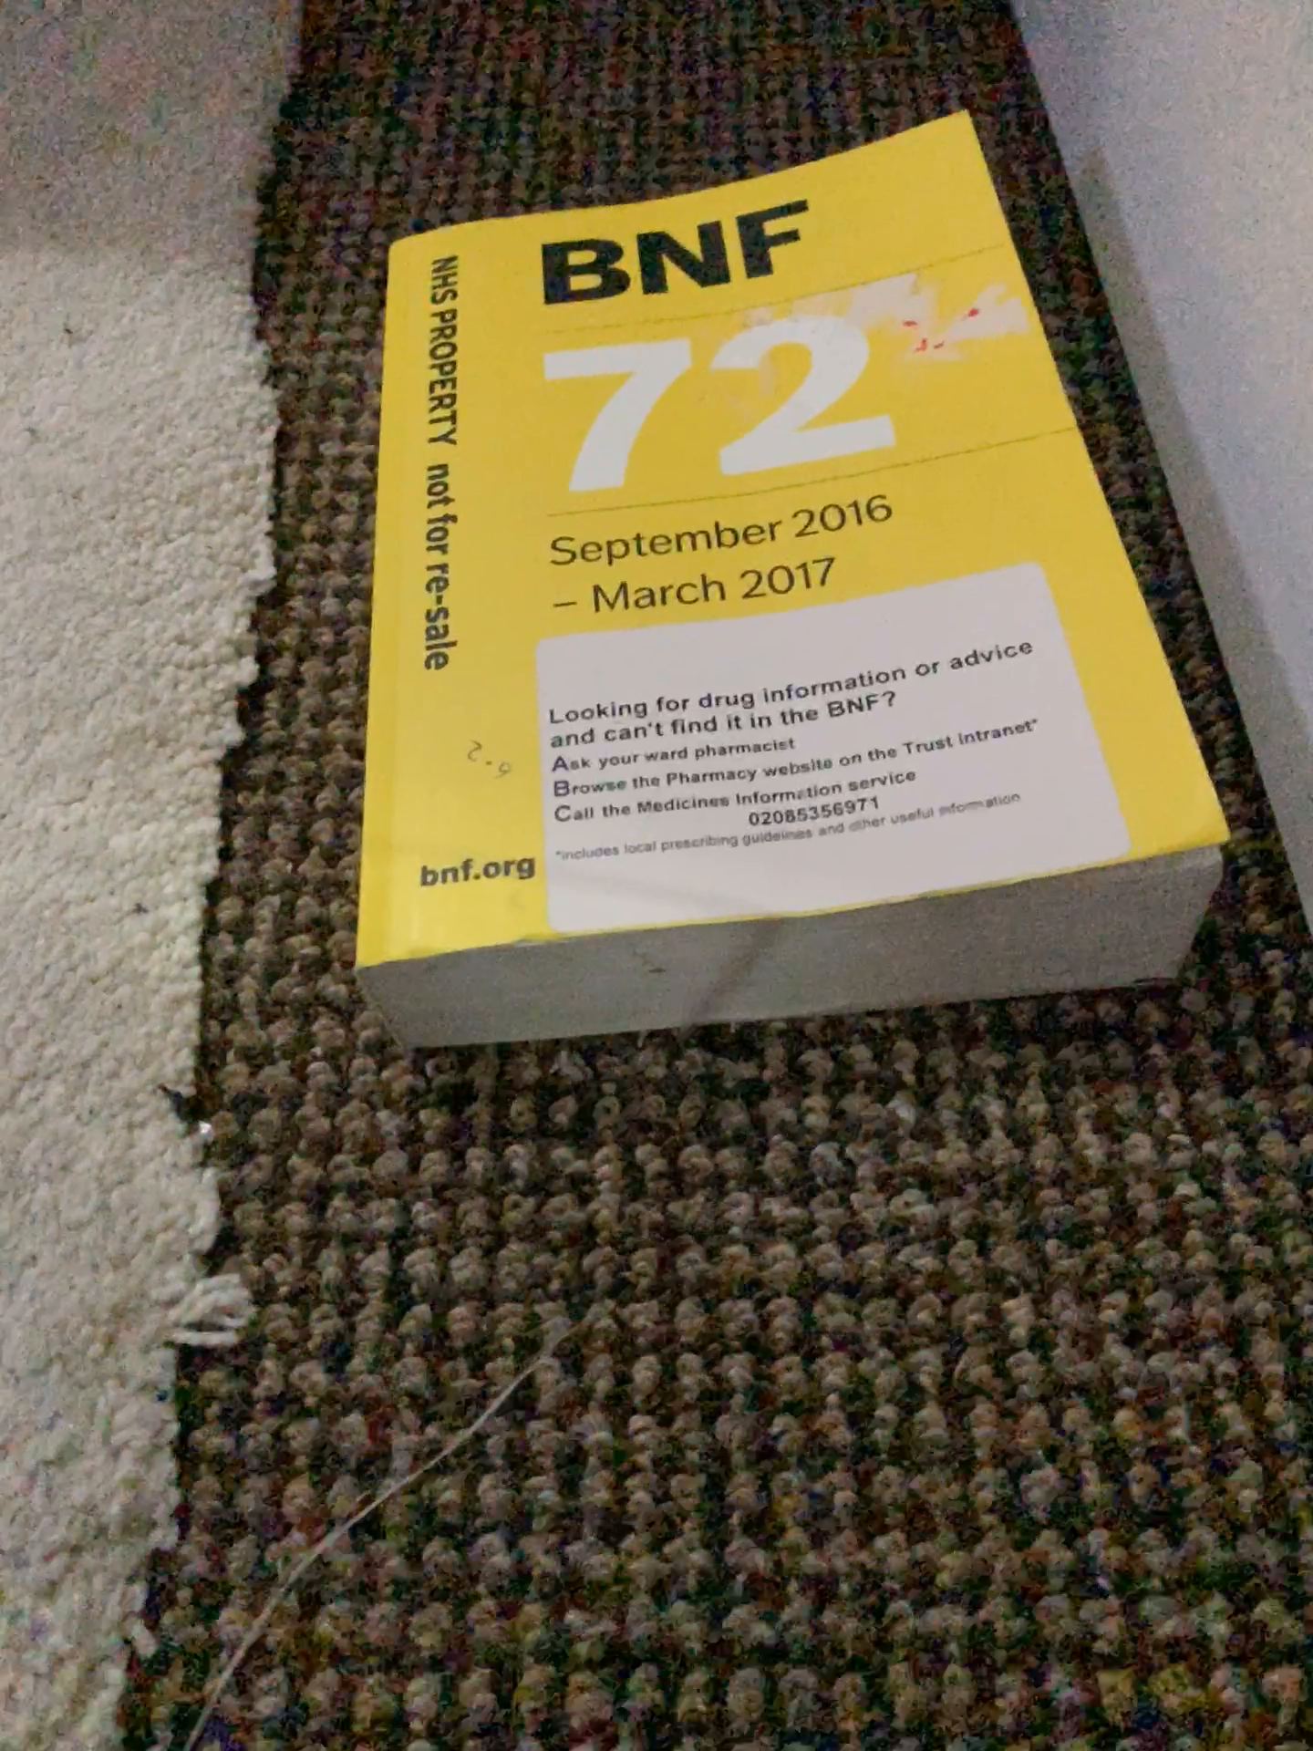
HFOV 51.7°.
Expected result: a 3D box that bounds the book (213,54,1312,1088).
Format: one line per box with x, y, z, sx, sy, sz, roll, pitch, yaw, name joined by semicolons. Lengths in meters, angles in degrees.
0.007;-0.077;0.276;0.160;0.050;0.222;-6;58;-1;book
